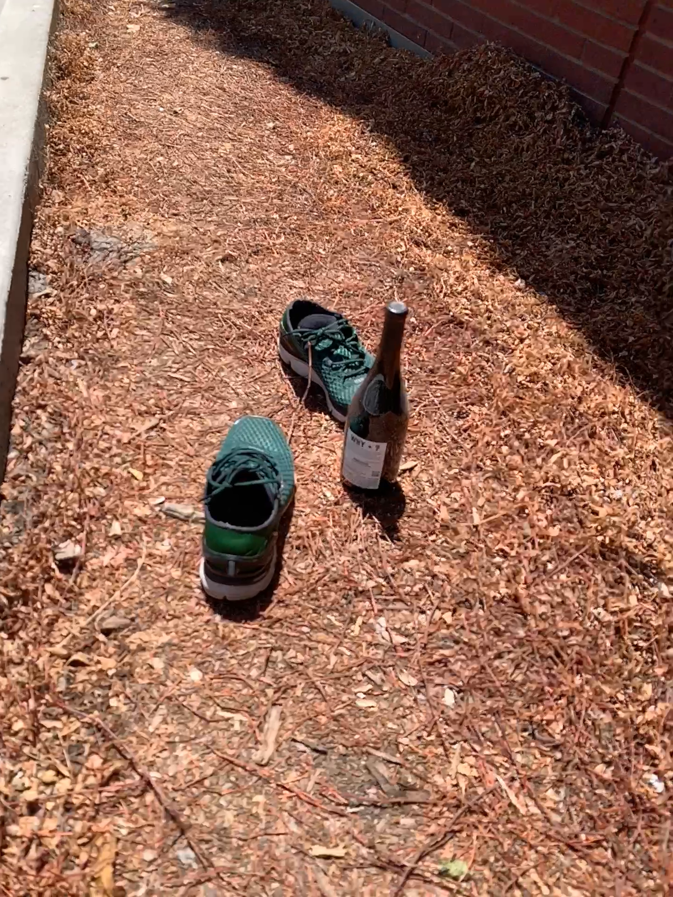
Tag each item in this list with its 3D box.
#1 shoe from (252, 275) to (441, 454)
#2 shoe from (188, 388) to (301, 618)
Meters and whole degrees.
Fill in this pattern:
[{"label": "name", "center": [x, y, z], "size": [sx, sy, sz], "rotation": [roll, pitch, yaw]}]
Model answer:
[{"label": "shoe", "center": [0.005, -0.143, 1.086], "size": [0.130, 0.099, 0.301], "rotation": [-26, 55, -30]}, {"label": "shoe", "center": [-0.110, 0.060, 0.875], "size": [0.120, 0.099, 0.292], "rotation": [3, 46, -6]}]
